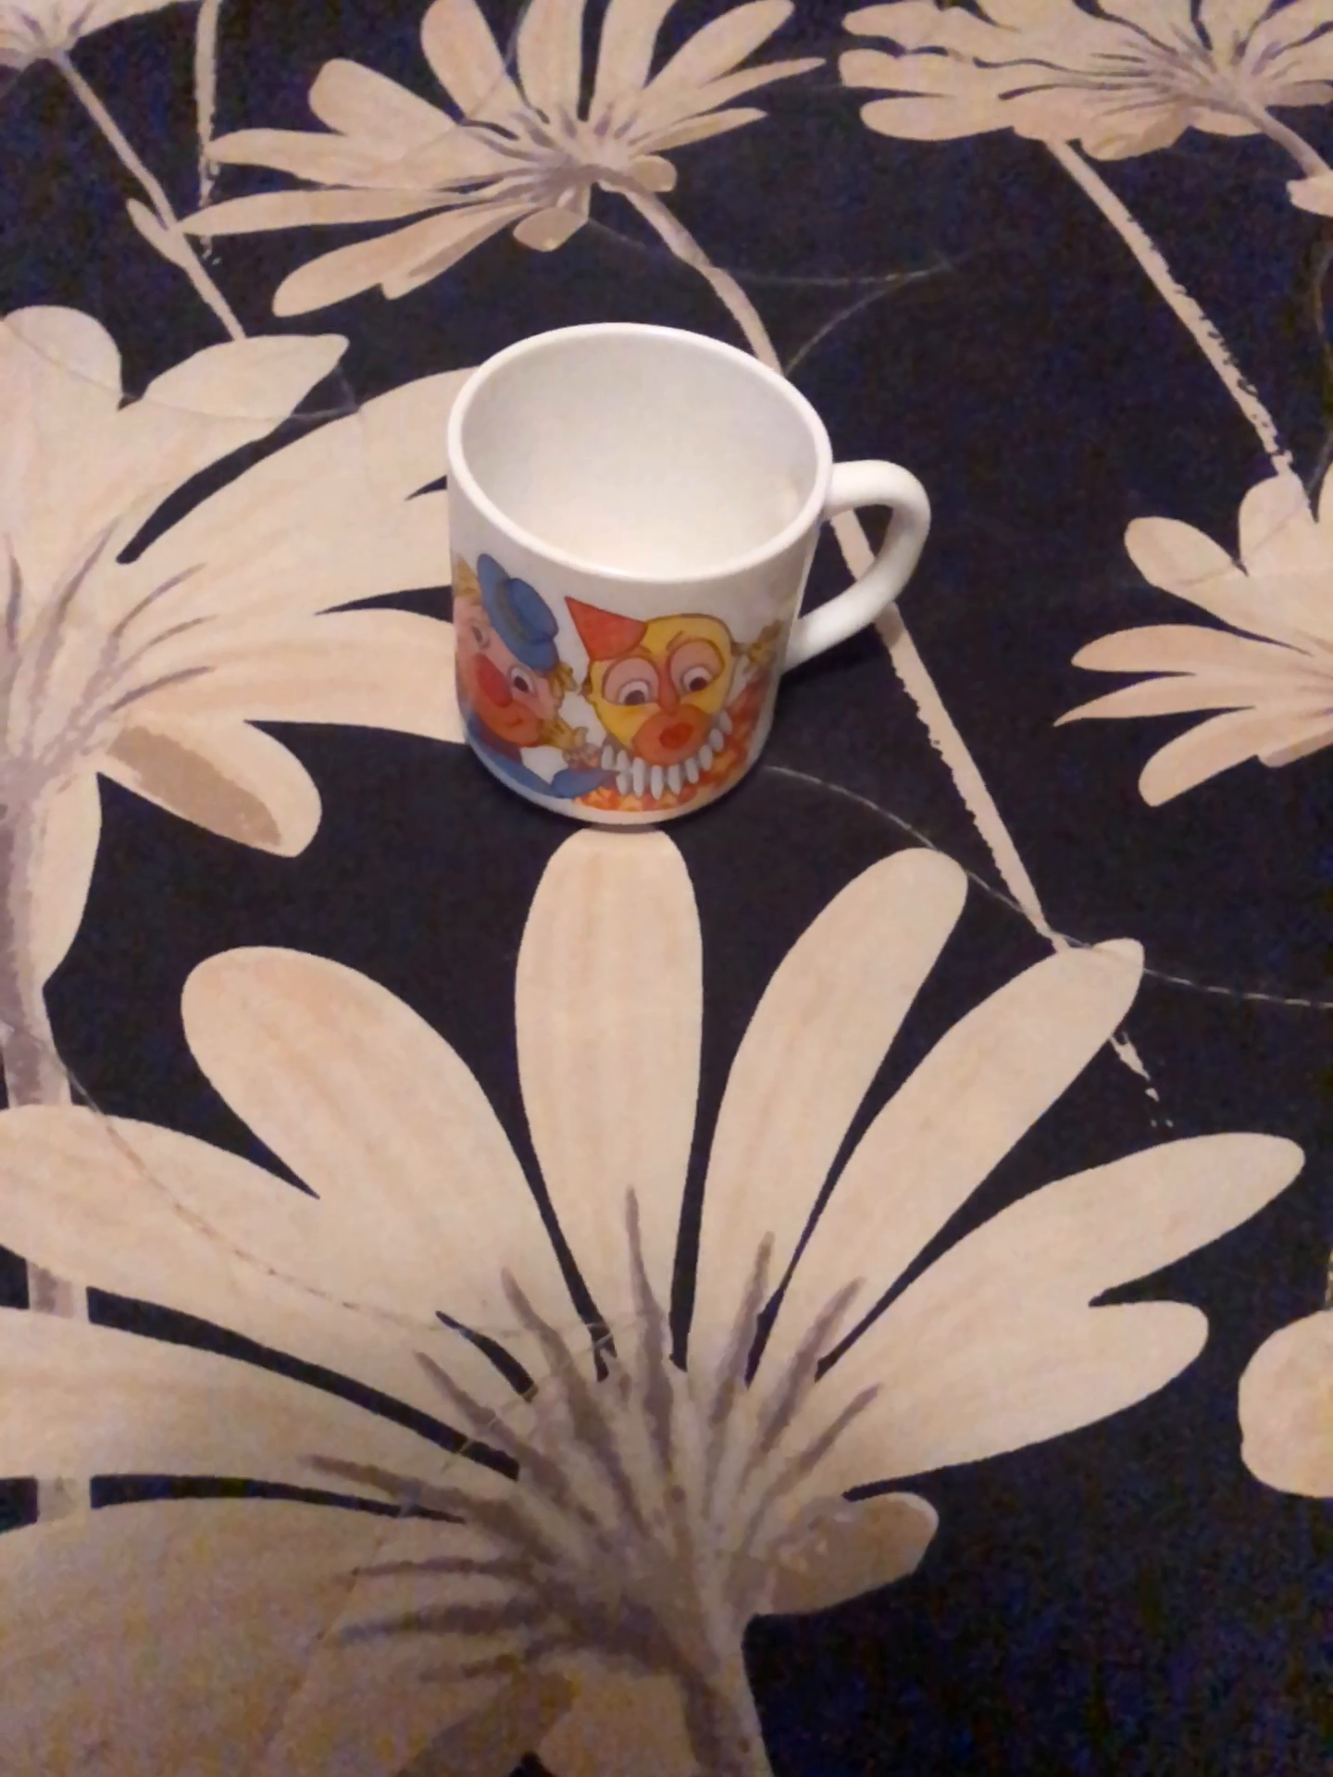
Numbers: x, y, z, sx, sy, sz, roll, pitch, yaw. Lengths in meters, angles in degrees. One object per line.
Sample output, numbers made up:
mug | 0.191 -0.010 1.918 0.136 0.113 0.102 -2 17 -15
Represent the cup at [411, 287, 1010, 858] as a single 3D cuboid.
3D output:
cup | 0.004 -0.069 0.323 0.108 0.077 0.085 -6 55 -4
